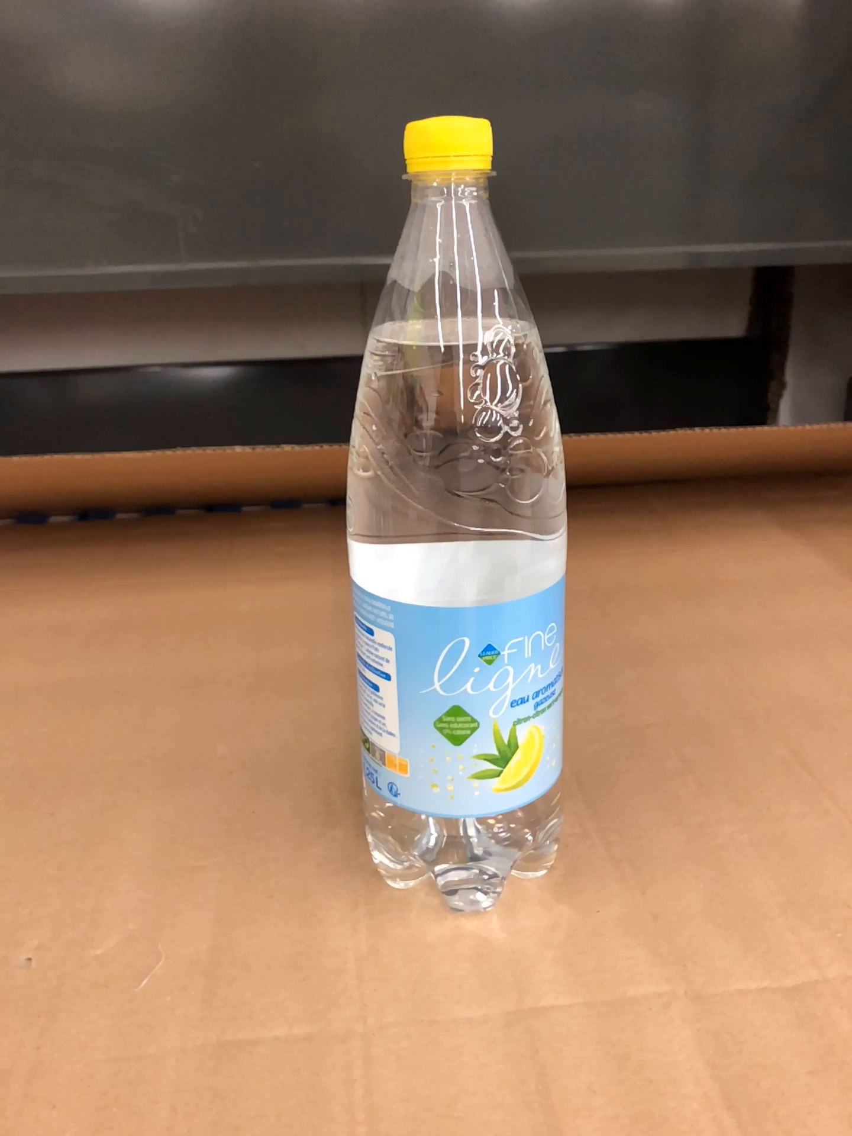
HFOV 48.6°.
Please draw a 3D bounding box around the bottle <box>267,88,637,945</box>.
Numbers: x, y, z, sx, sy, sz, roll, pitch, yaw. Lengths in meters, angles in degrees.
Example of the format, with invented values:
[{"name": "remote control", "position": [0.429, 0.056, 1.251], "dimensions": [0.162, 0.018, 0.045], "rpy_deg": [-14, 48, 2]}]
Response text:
[{"name": "bottle", "position": [0.010, -0.014, 0.354], "dimensions": [0.090, 0.289, 0.080], "rpy_deg": [-13, 24, -26]}]
